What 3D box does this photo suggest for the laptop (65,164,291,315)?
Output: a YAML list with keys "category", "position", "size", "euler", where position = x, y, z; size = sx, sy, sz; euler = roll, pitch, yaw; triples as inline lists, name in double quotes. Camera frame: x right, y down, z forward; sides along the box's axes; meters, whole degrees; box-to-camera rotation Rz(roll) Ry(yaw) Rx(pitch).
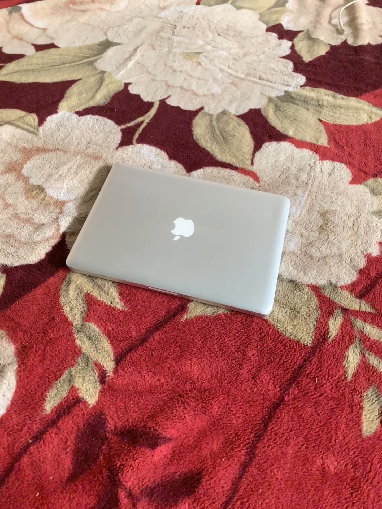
- category: "laptop"
  position: [-0.012, -0.037, 0.616]
  size: [0.310, 0.001, 0.210]
  euler: [13, 61, 8]
